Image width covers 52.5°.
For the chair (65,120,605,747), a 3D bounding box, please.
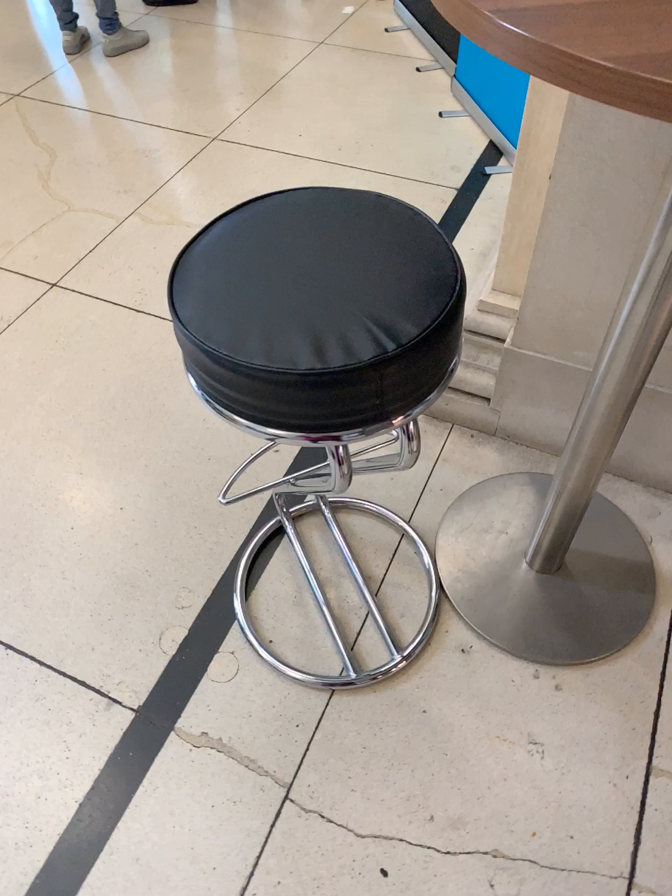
[{"bbox_3d":[-0.021,0.027,1.124,0.464,0.813,0.506,-23,54,-15],"label":"chair"}]
